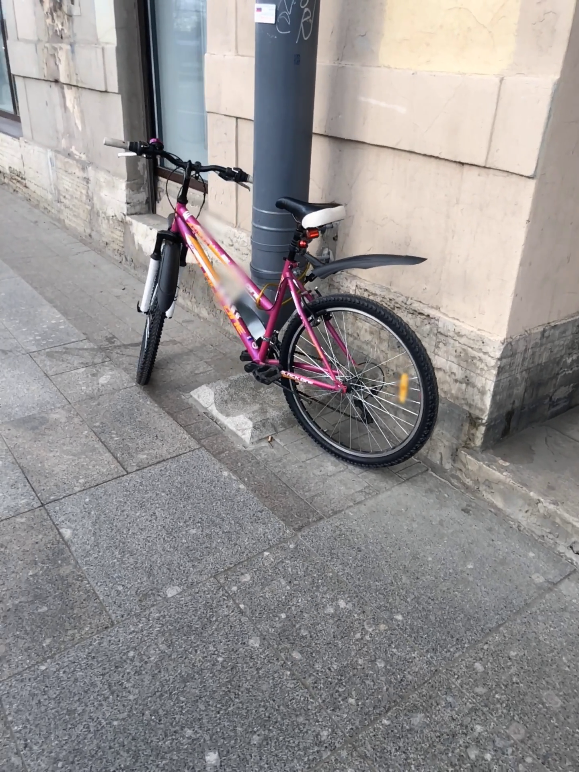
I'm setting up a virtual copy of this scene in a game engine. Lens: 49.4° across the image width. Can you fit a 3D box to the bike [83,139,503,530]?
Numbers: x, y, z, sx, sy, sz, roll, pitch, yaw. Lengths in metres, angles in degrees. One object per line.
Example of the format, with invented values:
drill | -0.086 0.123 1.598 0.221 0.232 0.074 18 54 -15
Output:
bike | -0.102 -0.360 2.434 0.624 0.974 1.579 -22 35 -39
